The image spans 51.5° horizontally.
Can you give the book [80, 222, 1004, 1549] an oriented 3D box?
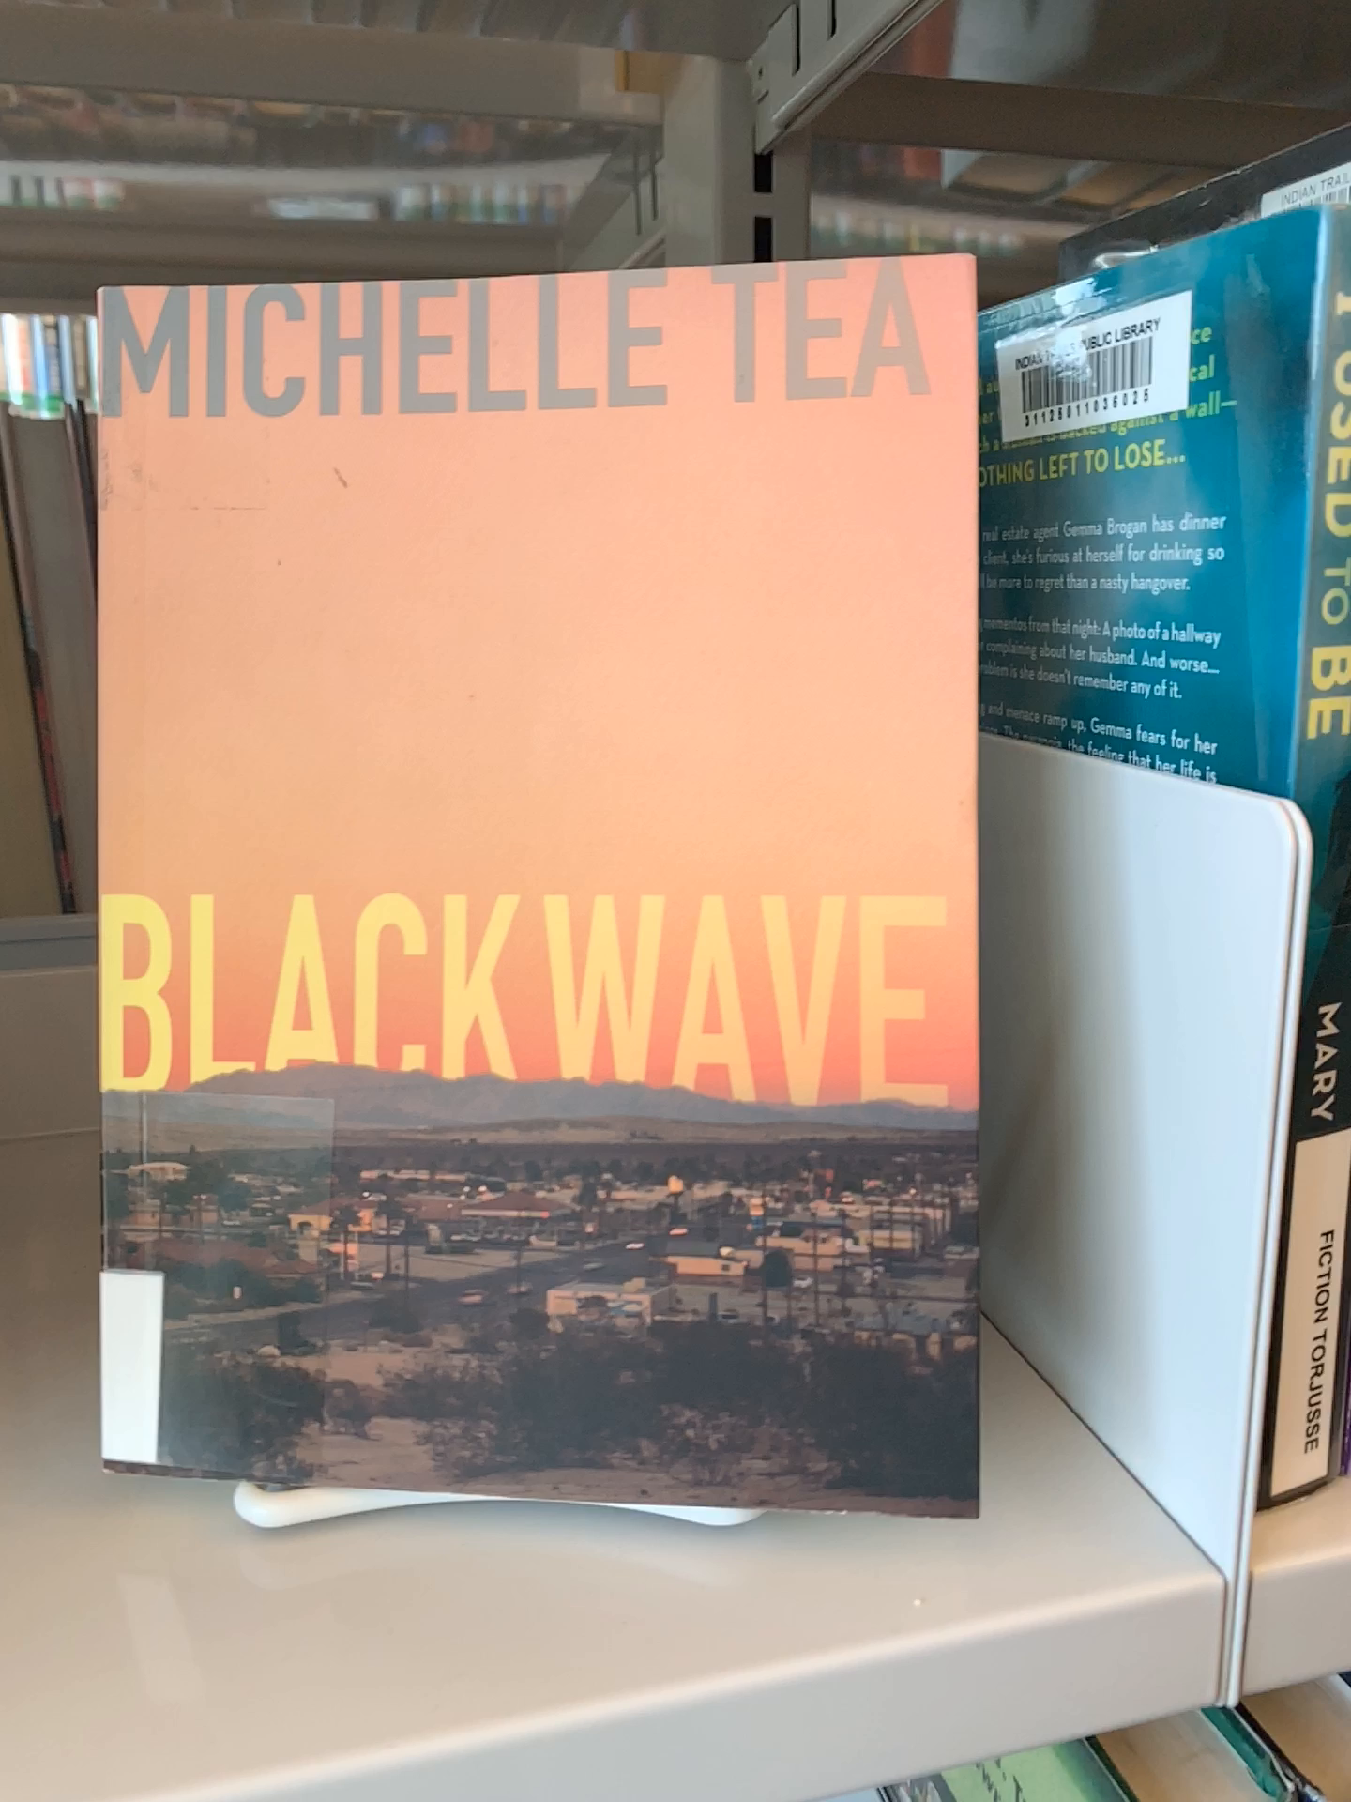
[{"bbox_3d":[-0.022,-0.003,0.238,0.147,0.201,0.036,1,1,7],"label":"book"}]
